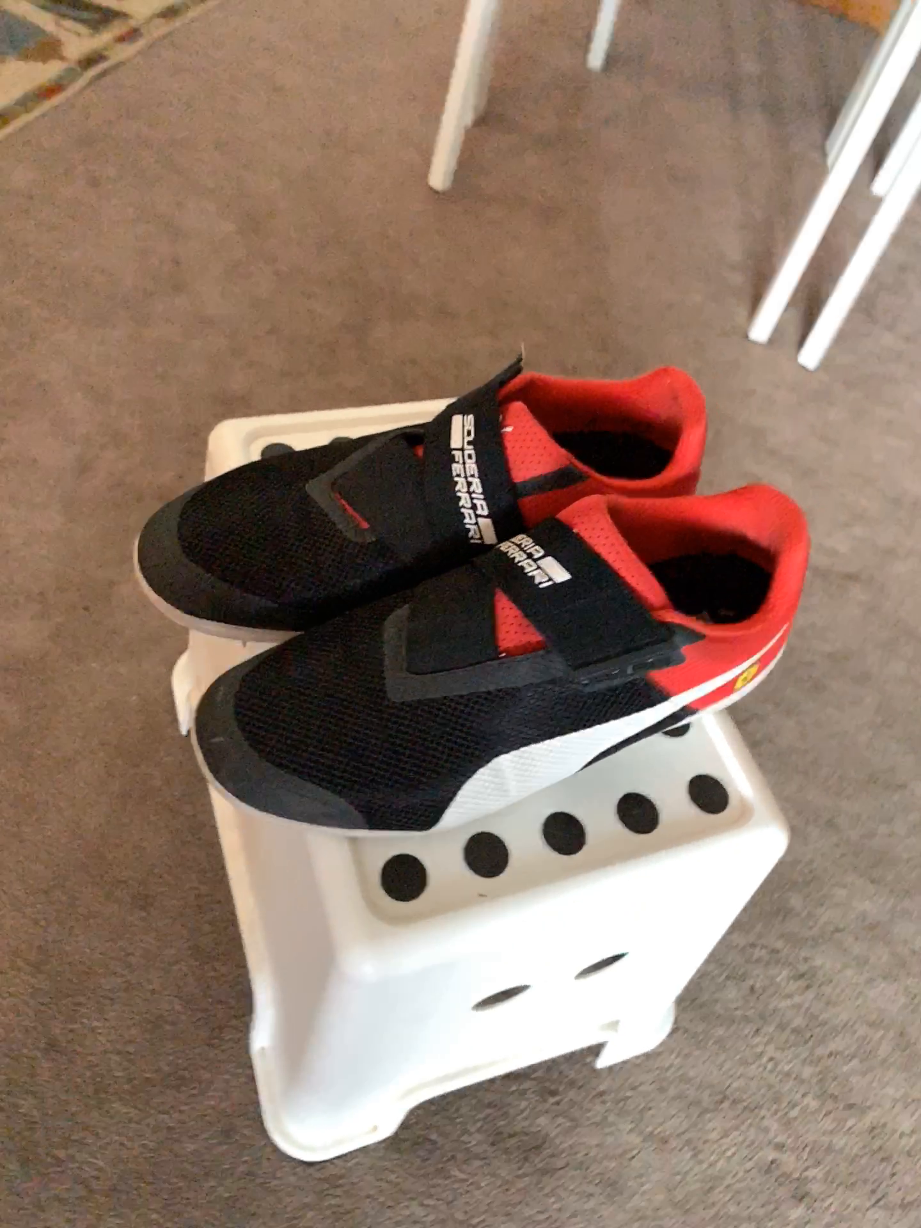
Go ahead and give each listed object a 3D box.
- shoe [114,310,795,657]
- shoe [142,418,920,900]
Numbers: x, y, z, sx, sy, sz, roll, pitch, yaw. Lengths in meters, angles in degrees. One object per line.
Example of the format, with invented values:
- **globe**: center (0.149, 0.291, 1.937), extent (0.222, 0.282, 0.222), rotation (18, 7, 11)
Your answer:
- **shoe**: center (-0.003, -0.071, 0.473), extent (0.301, 0.089, 0.101), rotation (-10, 58, -18)
- **shoe**: center (0.033, 0.009, 0.410), extent (0.301, 0.089, 0.111), rotation (-13, 59, -20)
